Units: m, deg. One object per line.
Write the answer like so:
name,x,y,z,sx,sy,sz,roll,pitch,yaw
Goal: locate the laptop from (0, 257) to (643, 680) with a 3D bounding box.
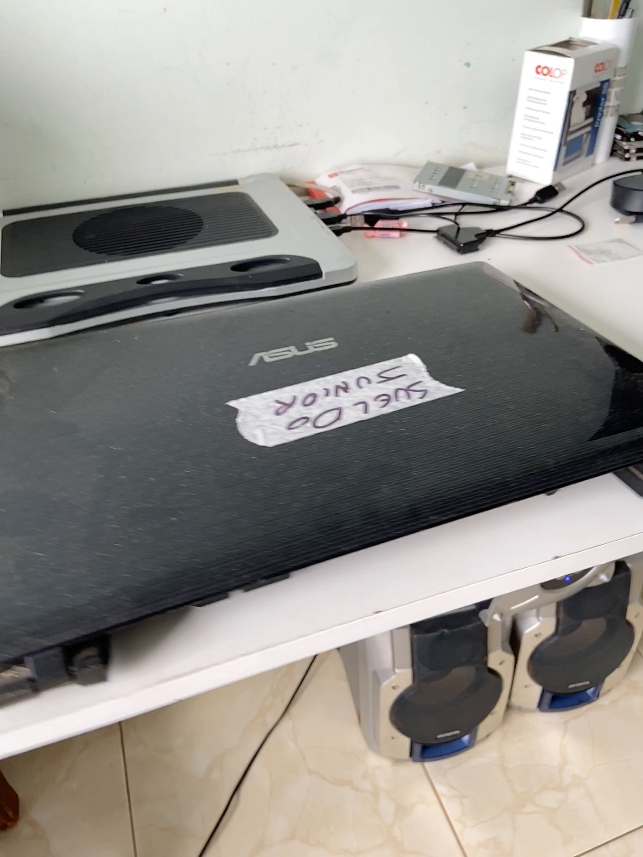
laptop,-0.007,-0.021,0.374,0.363,0.001,0.238,-15,38,-15
